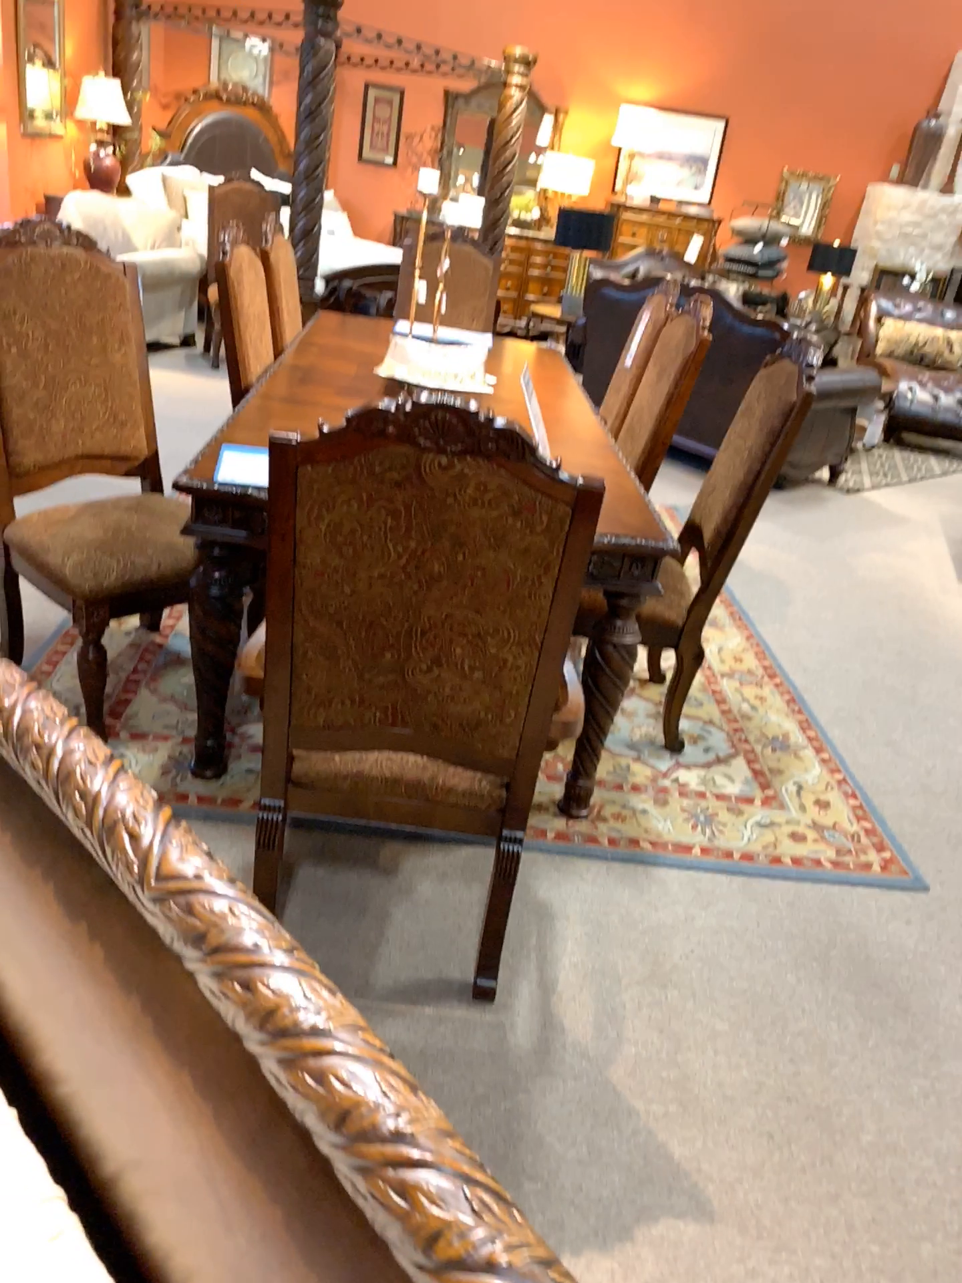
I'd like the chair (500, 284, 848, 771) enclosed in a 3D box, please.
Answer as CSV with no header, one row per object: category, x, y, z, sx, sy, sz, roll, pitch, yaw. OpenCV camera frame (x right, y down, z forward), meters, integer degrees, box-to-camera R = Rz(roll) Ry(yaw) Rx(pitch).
chair,0.452,-0.316,2.705,0.619,1.133,0.566,9,25,-2

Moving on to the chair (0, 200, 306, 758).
chair,-0.953,-0.443,2.571,0.670,1.183,0.605,28,31,34

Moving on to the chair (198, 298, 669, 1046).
chair,-0.121,0.036,1.808,0.583,1.123,0.672,8,25,-3
